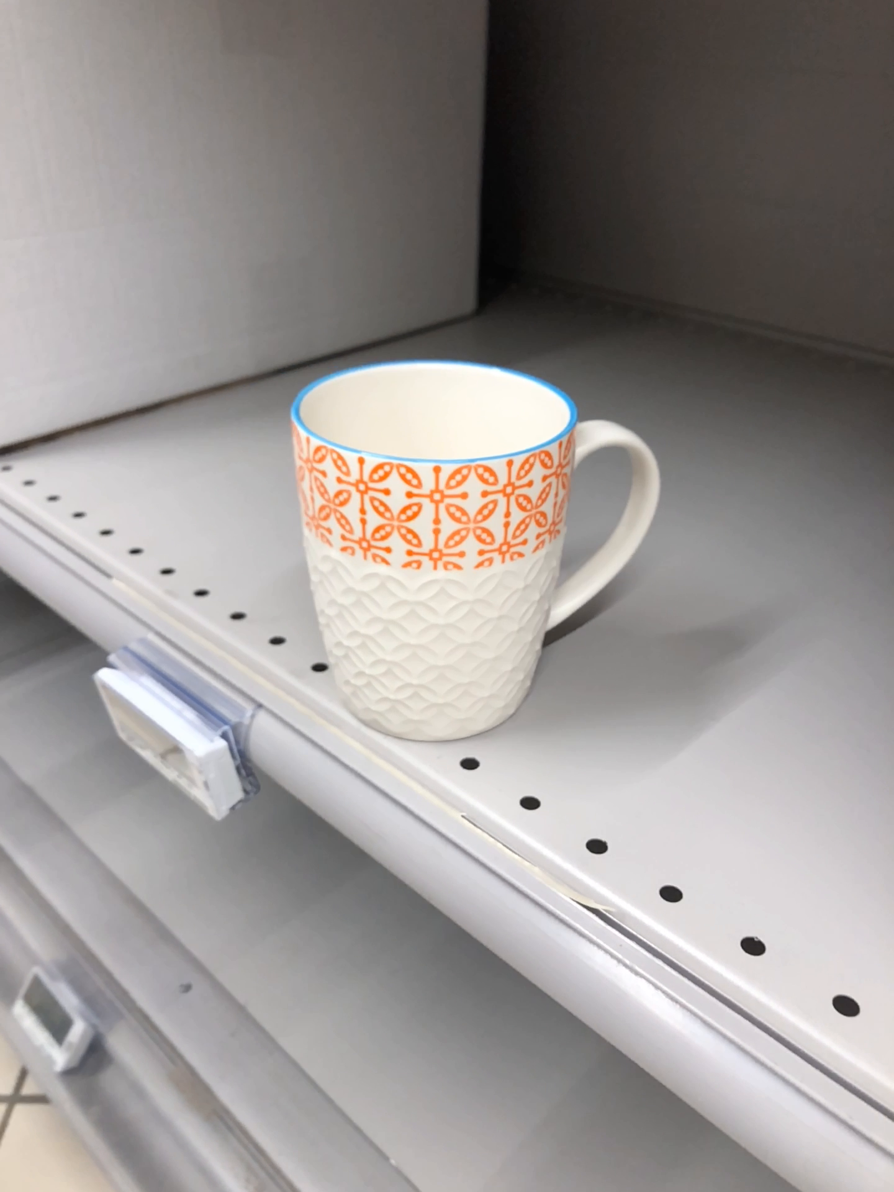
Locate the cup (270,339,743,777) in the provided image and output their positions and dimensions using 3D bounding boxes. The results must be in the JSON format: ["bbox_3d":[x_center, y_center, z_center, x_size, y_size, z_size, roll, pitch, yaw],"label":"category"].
[{"bbox_3d":[0.011,-0.018,0.318,0.117,0.095,0.091,-7,31,-13],"label":"cup"}]
